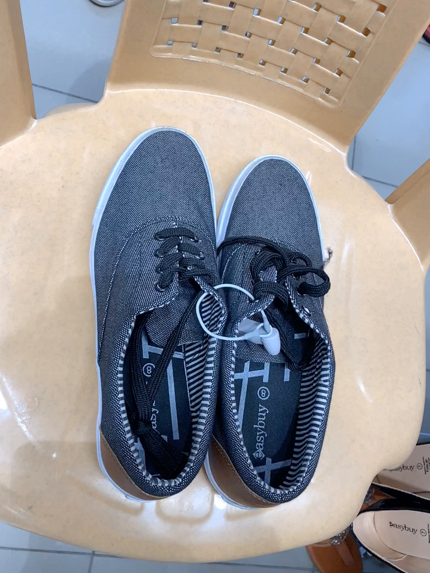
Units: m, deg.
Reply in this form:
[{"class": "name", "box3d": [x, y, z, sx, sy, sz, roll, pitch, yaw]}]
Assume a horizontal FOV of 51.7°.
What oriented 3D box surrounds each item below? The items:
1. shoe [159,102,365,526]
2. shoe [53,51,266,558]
[{"class": "shoe", "box3d": [0.033, 0.021, 0.346, 0.110, 0.110, 0.270, 8, 78, -12]}, {"class": "shoe", "box3d": [-0.034, 0.009, 0.289, 0.100, 0.110, 0.260, 4, 79, -13]}]
